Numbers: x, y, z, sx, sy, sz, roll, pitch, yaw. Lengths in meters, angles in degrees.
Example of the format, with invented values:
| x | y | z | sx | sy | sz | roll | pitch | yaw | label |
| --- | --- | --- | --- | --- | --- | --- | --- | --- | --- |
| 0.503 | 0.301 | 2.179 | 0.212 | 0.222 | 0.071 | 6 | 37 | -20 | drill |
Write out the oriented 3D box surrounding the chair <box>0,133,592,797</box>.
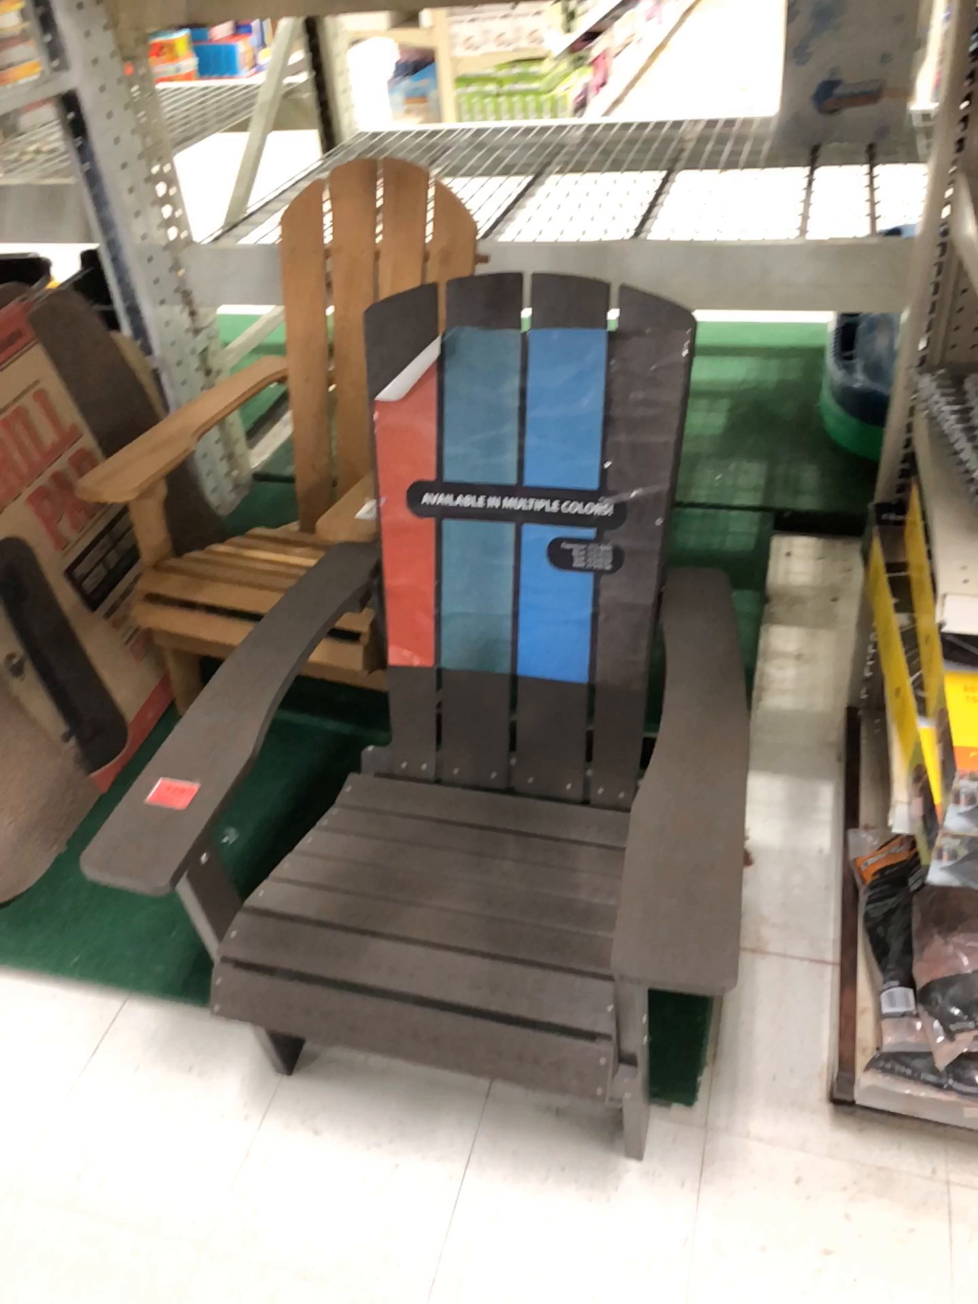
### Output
| x | y | z | sx | sy | sz | roll | pitch | yaw | label |
| --- | --- | --- | --- | --- | --- | --- | --- | --- | --- |
| -0.263 | -0.423 | 2.071 | 0.638 | 0.846 | 0.979 | 10 | 41 | 20 | chair |

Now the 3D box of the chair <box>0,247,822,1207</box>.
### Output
| x | y | z | sx | sy | sz | roll | pitch | yaw | label |
| --- | --- | --- | --- | --- | --- | --- | --- | --- | --- |
| 0.016 | 0.018 | 1.453 | 0.717 | 0.816 | 0.919 | 6 | 40 | 16 | chair |
